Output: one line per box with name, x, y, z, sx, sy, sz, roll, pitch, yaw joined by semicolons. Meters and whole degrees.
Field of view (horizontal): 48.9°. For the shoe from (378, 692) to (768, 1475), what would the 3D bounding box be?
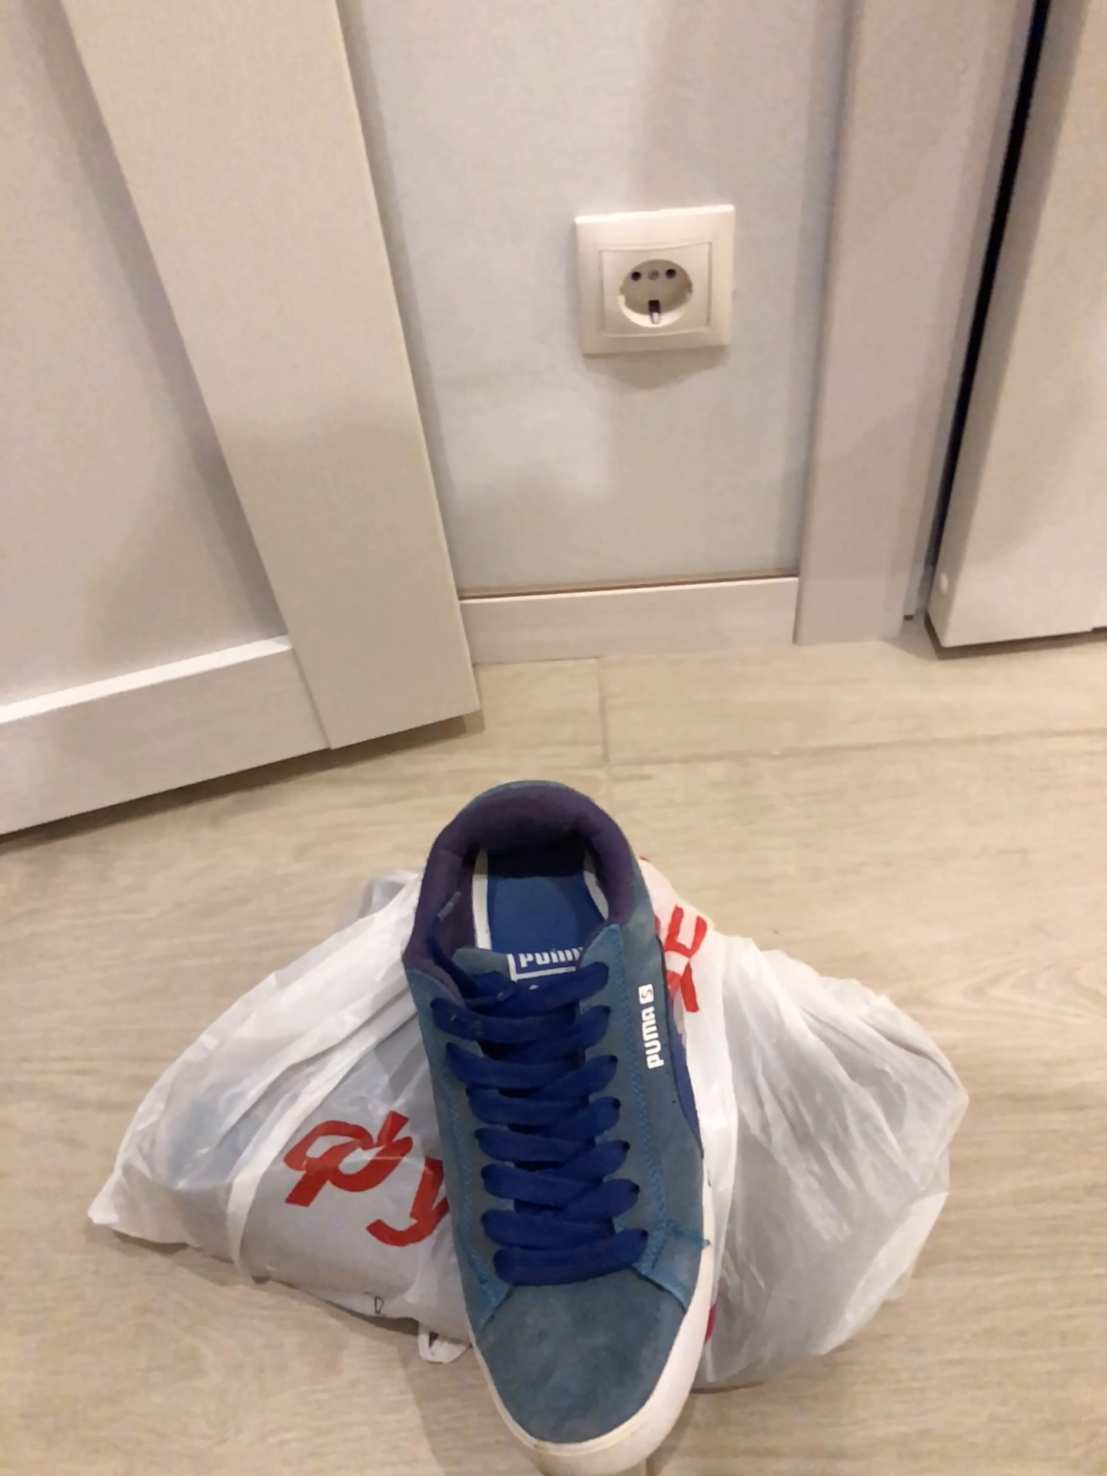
shoe;-0.002;0.135;0.520;0.110;0.099;0.302;-13;50;5
